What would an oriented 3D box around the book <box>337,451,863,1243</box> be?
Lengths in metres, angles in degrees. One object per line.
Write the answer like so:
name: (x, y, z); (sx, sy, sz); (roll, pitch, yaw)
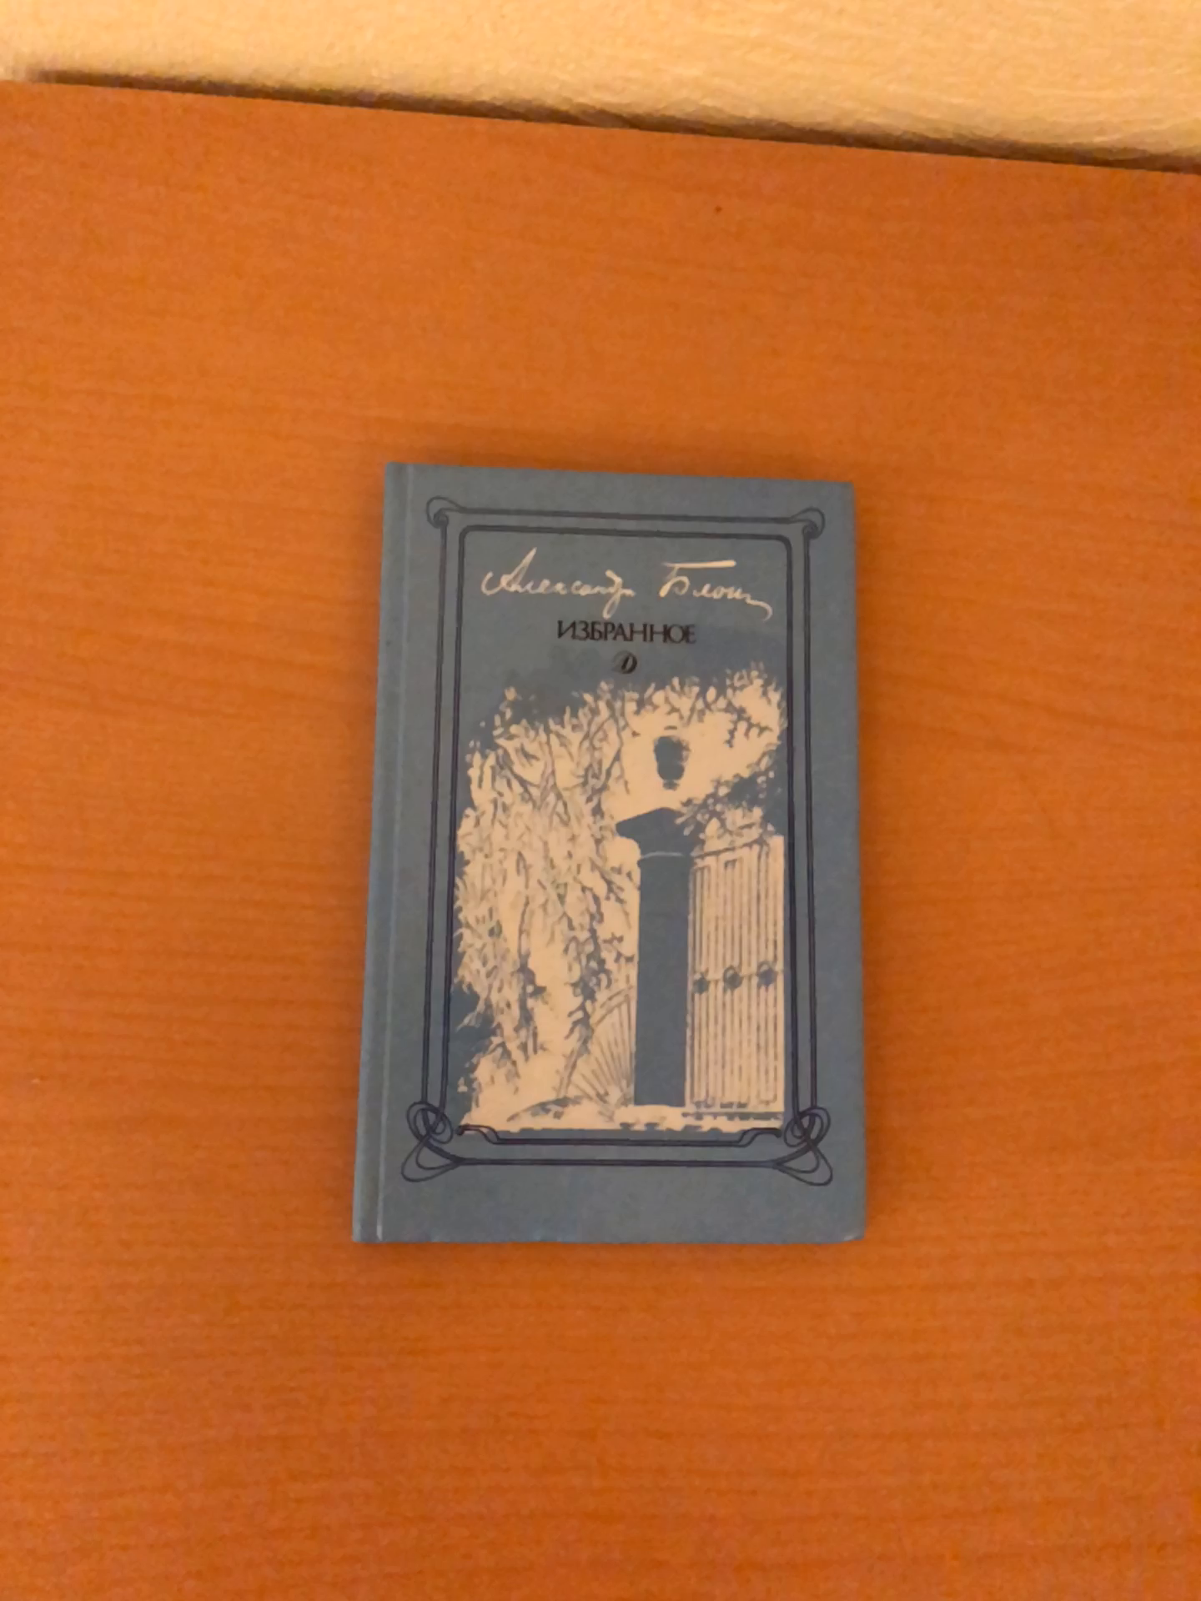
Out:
book: (0.001, 0.010, 0.364); (0.135, 0.020, 0.210); (1, 81, -4)
